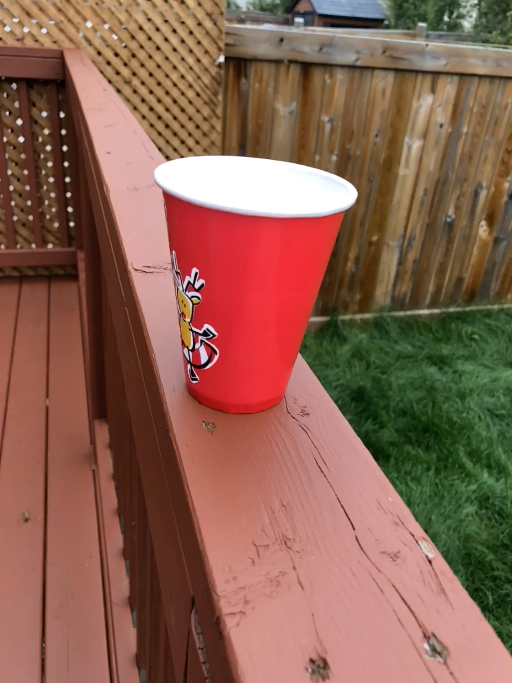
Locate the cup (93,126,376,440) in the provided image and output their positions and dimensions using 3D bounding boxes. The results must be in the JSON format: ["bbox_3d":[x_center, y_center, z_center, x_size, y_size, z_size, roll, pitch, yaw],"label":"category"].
[{"bbox_3d":[-0.014,-0.032,0.244,0.080,0.100,0.080,4,29,-2],"label":"cup"}]
